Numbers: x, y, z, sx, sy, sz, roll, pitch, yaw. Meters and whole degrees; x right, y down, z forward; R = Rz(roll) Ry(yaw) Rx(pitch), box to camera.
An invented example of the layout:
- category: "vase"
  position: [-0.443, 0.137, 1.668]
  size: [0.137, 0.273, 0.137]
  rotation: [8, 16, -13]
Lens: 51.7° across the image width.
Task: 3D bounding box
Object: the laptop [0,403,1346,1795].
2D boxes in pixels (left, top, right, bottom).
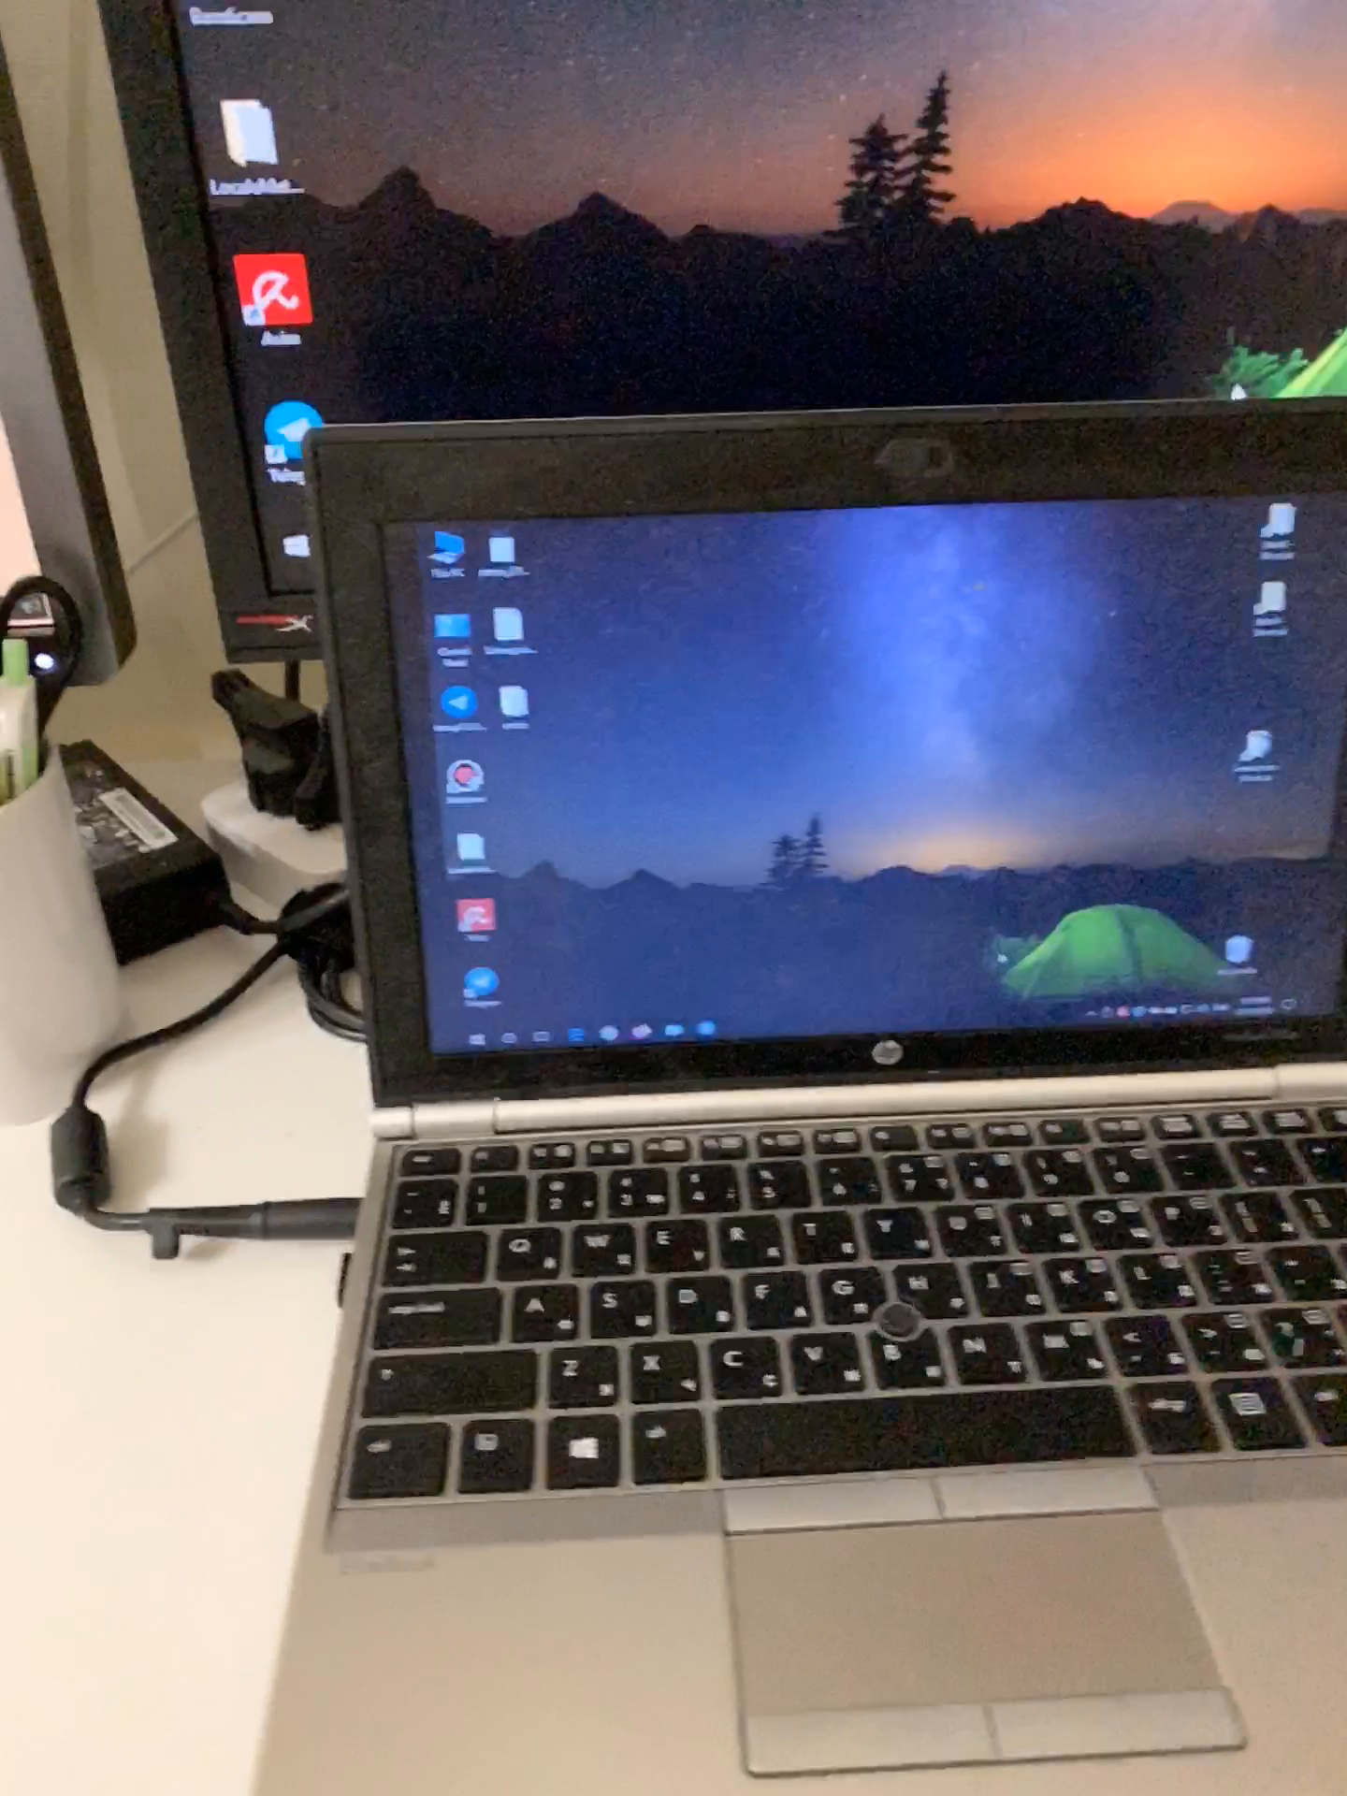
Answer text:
- category: "laptop"
  position: [0.061, 0.021, 0.285]
  size: [0.283, 0.176, 0.227]
  rotation: [-2, 33, -2]
